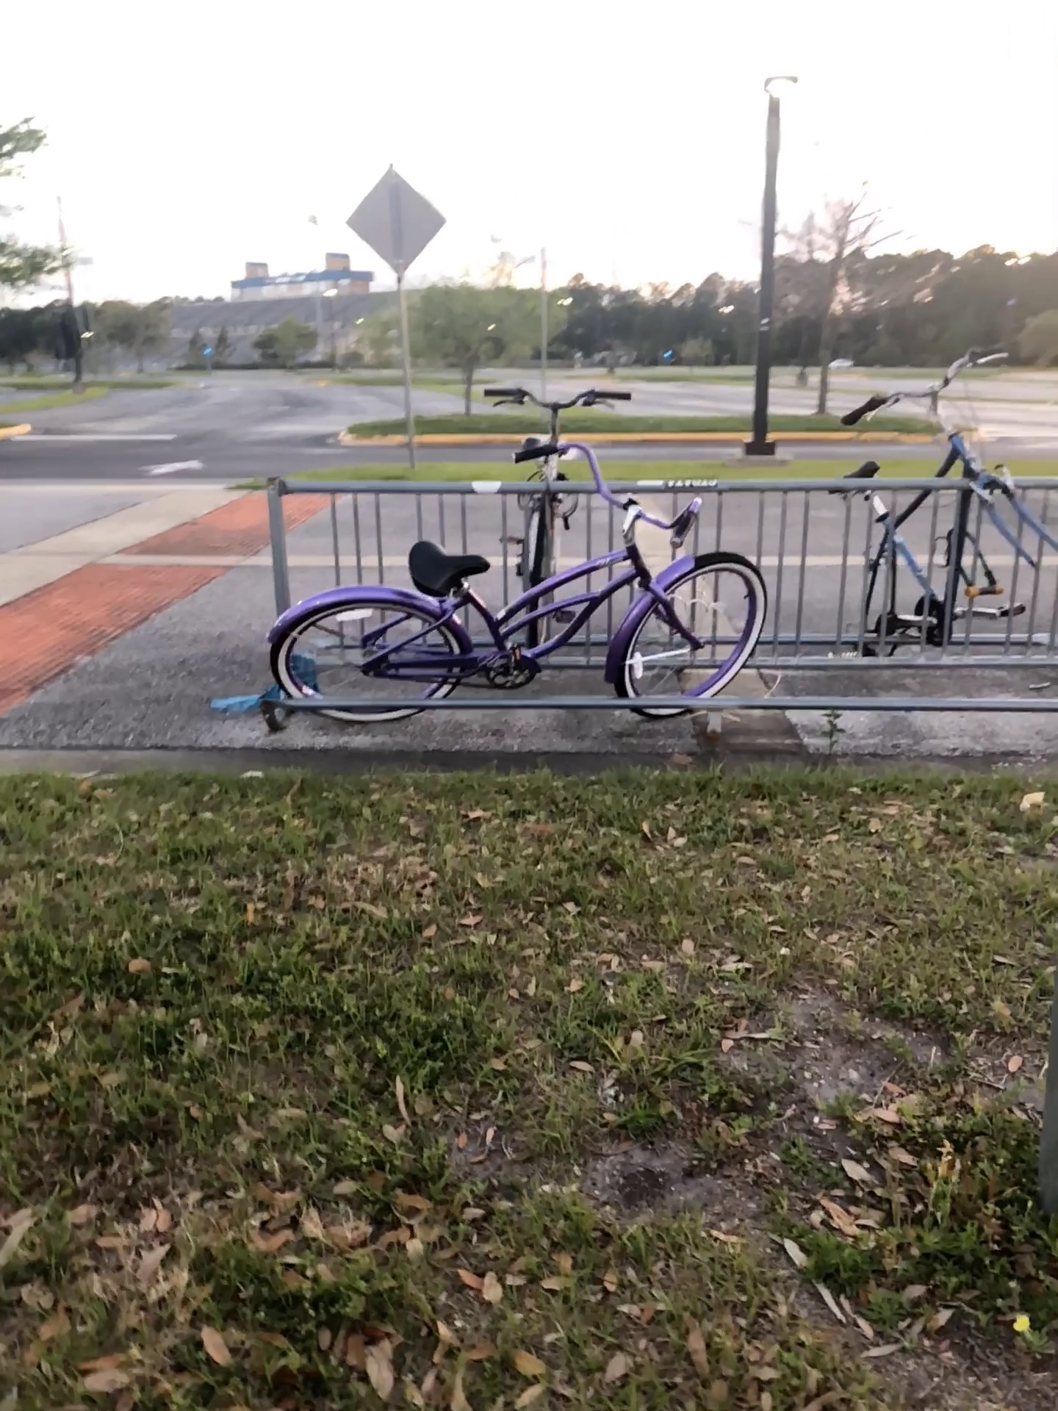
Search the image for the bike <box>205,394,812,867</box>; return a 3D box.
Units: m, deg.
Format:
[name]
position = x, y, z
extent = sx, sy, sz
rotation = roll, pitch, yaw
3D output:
[bike]
position = -0.017, -0.324, 3.733
extent = 1.699, 1.118, 0.853
rotation = -6, 16, -7
